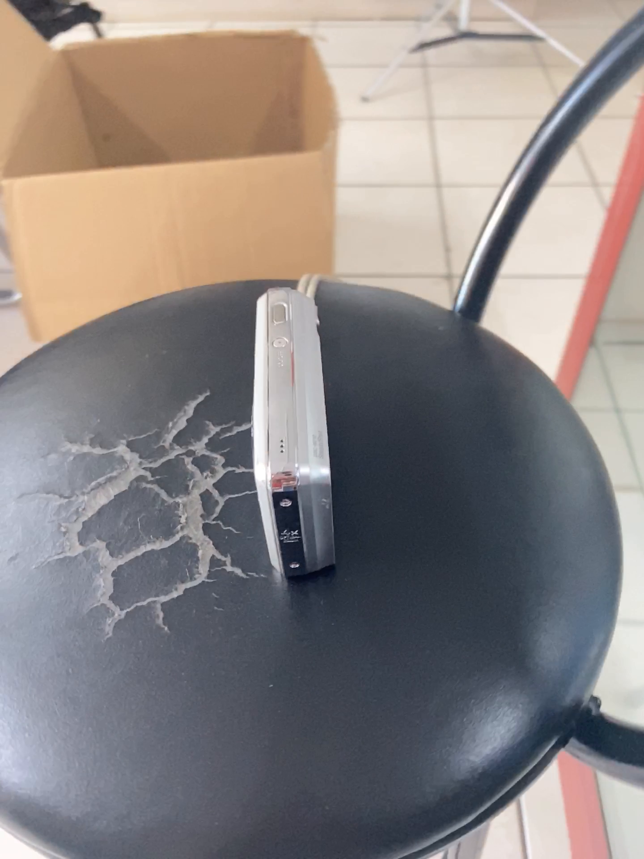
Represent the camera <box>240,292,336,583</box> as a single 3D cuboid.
[{"bbox_3d":[-0.011,-0.001,0.231,0.026,0.044,0.093,-3,47,-1],"label":"camera"}]
